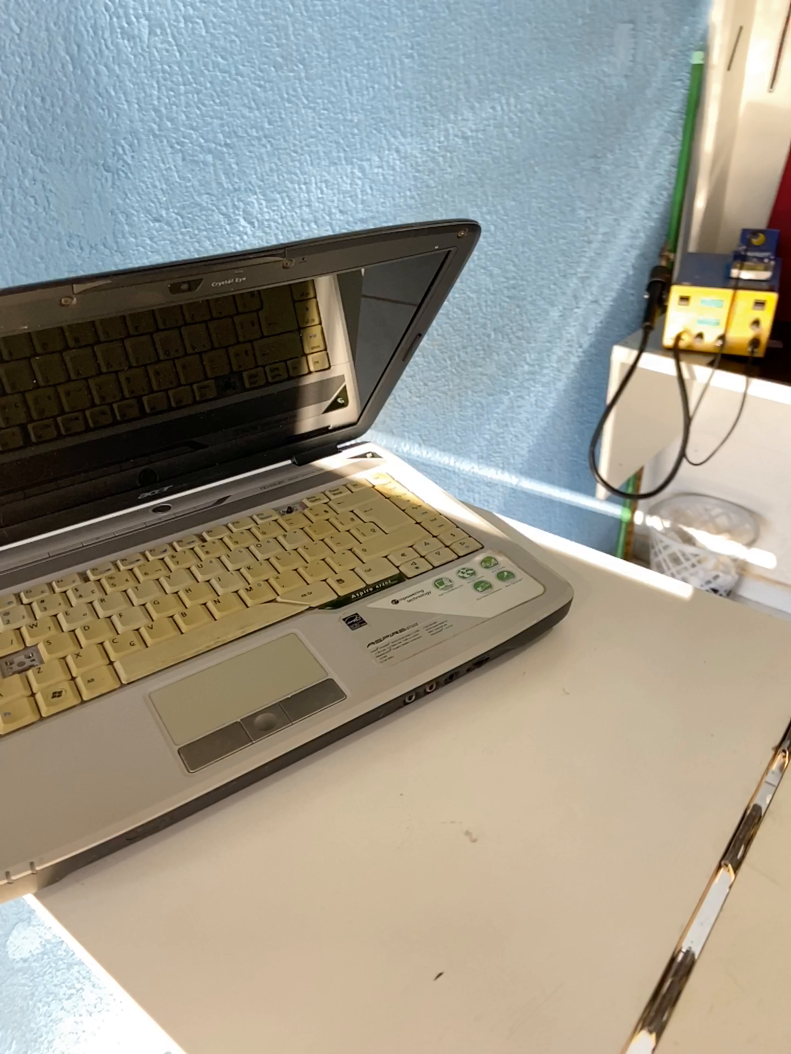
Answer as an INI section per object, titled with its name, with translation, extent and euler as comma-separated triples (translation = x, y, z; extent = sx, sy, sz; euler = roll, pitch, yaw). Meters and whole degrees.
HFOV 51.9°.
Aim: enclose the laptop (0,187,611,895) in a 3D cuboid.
[laptop]
translation = -0.101, -0.039, 0.416
extent = 0.329, 0.179, 0.226
euler = -20, 37, -26
